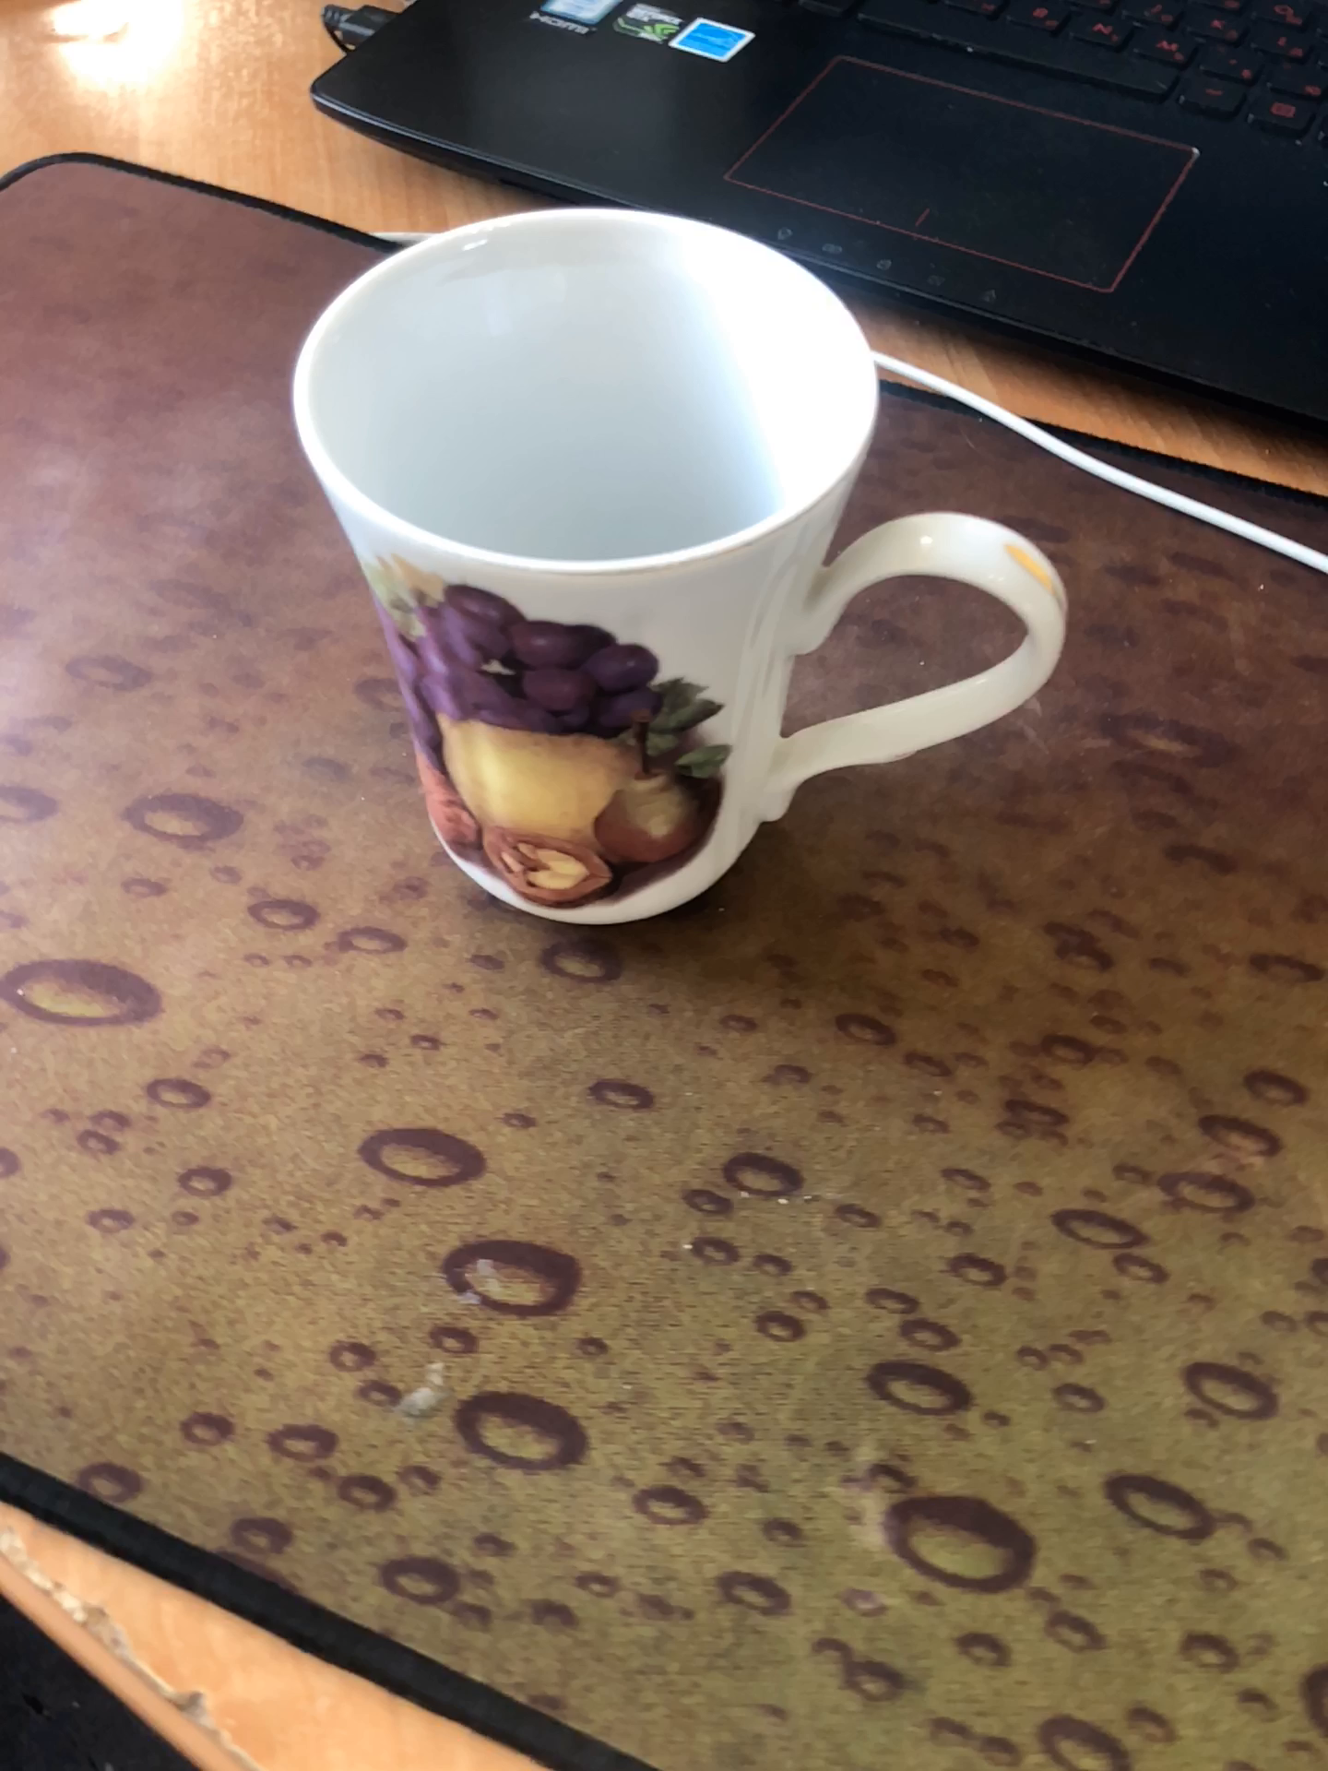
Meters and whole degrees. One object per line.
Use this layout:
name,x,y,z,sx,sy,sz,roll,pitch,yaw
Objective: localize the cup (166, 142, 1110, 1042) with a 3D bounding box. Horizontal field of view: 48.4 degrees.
cup,0.001,-0.043,0.216,0.100,0.080,0.080,13,54,8
